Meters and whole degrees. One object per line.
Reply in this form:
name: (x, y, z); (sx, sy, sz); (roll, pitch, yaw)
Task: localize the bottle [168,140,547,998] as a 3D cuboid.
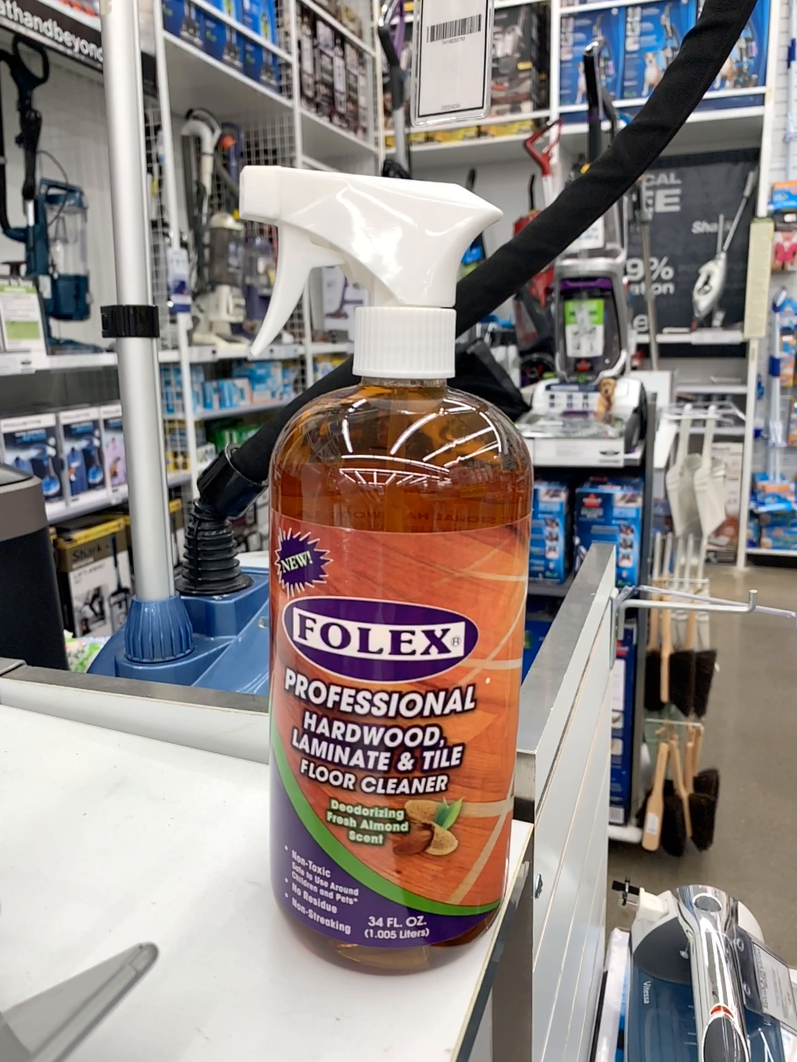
bottle: (-0.002, 0.013, 0.283); (0.100, 0.249, 0.090); (1, 13, 10)
